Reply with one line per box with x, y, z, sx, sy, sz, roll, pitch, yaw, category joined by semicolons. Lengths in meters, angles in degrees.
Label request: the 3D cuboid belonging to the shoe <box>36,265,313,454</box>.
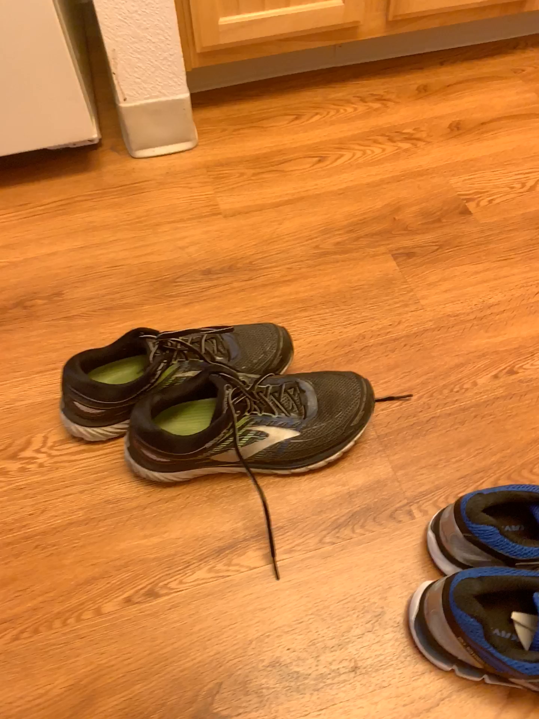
-0.110;-0.001;0.699;0.310;0.120;0.100;-18;55;-11;shoe

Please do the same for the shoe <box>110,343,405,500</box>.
-0.015;0.075;0.657;0.310;0.120;0.100;-7;54;-3;shoe
